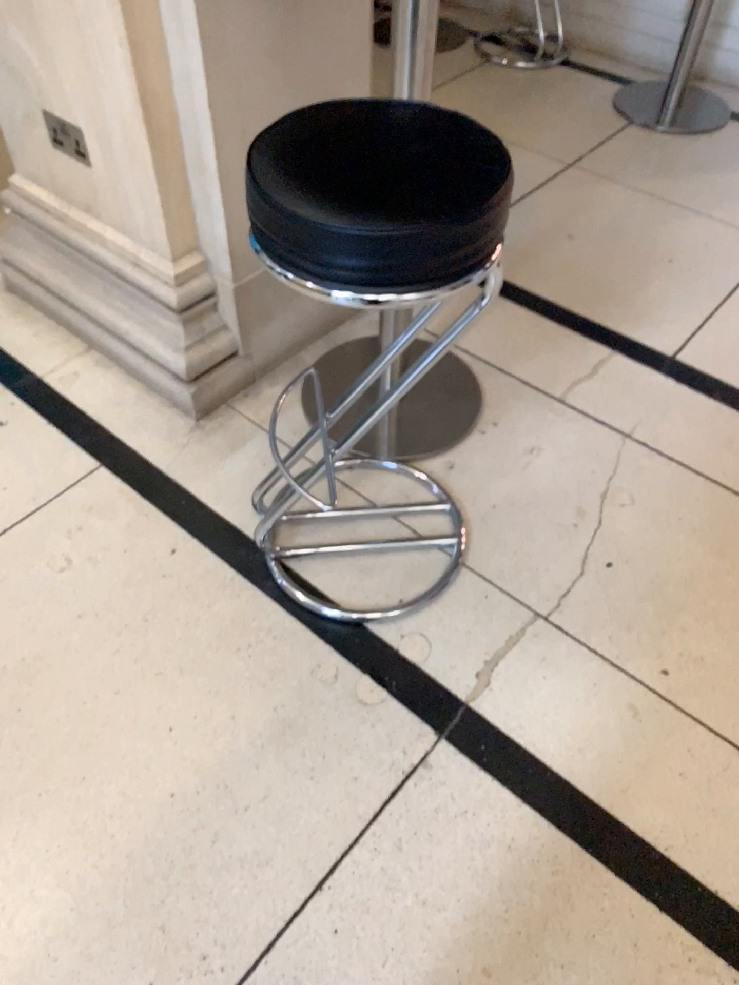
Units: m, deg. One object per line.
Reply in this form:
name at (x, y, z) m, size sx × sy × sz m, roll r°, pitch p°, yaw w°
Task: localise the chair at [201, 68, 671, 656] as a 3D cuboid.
chair at (0.046, -0.165, 1.267) m, size 0.503 × 0.813 × 0.468 m, roll -7°, pitch 50°, yaw -6°
